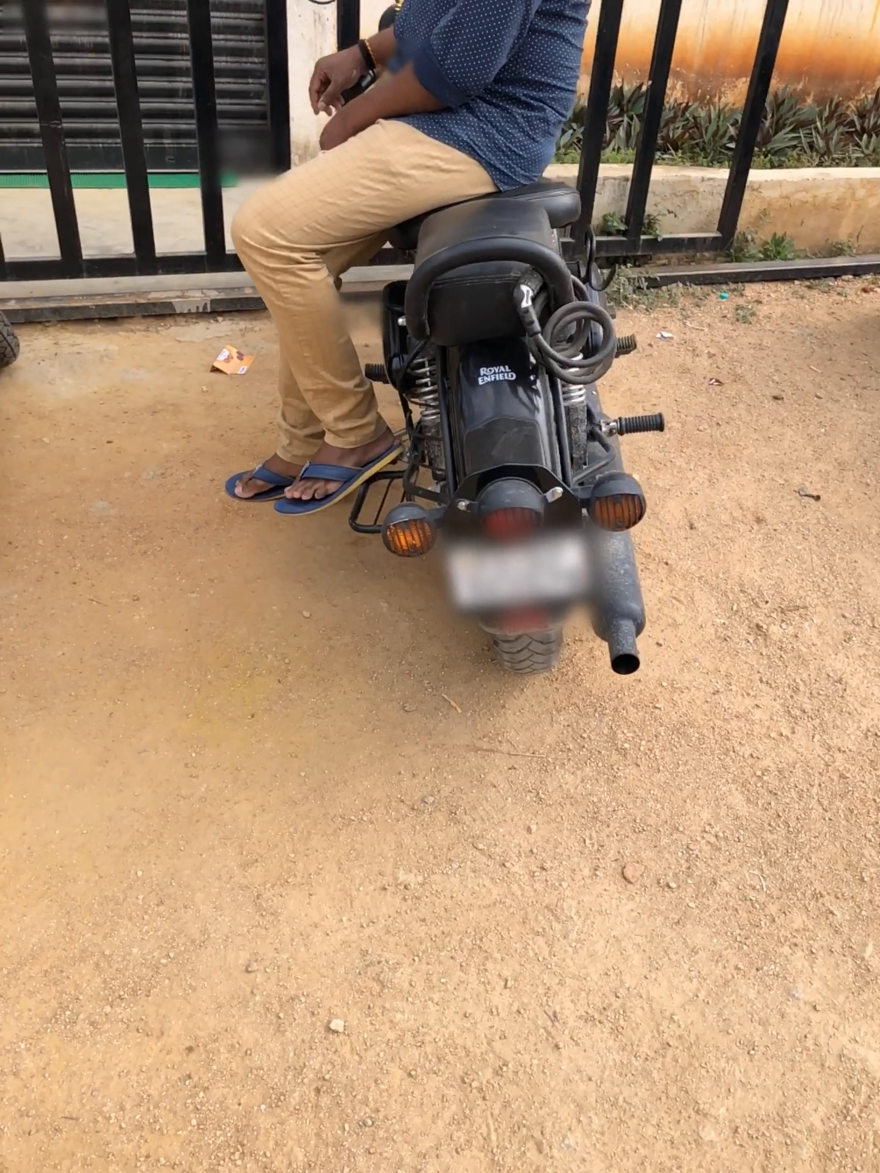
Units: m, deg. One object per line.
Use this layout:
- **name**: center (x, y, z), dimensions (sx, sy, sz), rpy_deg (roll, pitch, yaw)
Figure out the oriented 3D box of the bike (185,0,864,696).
- **bike**: center (-0.105, -0.927, 2.011), dimensions (0.723, 1.169, 1.815), rpy_deg (-3, 42, -10)
